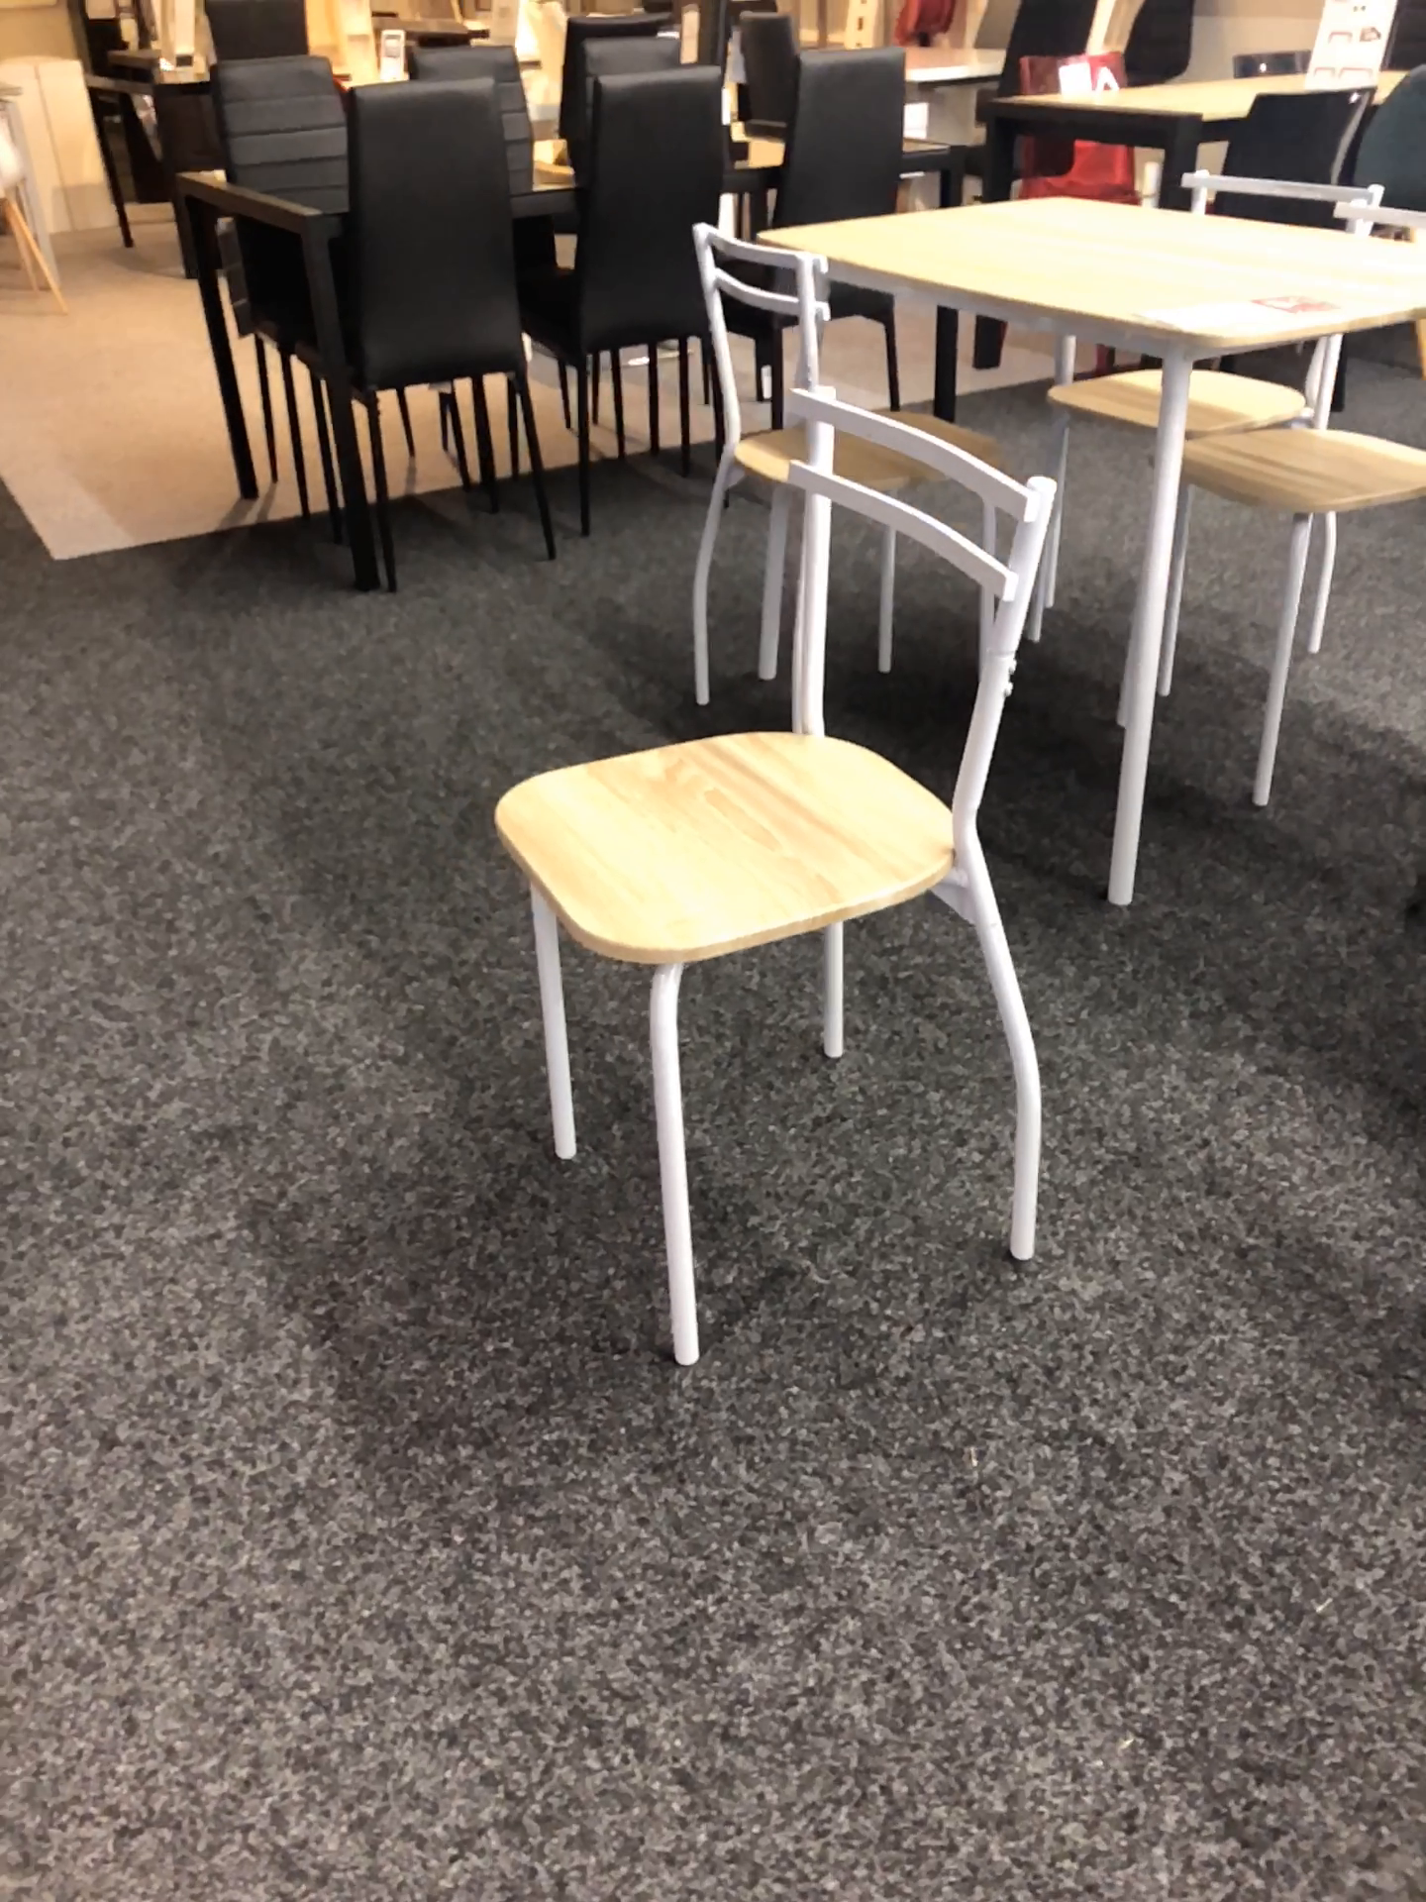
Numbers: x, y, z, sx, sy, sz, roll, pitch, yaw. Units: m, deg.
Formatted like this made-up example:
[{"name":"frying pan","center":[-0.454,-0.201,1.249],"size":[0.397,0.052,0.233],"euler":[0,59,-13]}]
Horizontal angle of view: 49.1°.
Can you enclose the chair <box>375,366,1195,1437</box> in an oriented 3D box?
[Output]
[{"name":"chair","center":[0.041,-0.074,1.403],"size":[0.442,0.726,0.501],"euler":[-18,35,-24]}]
